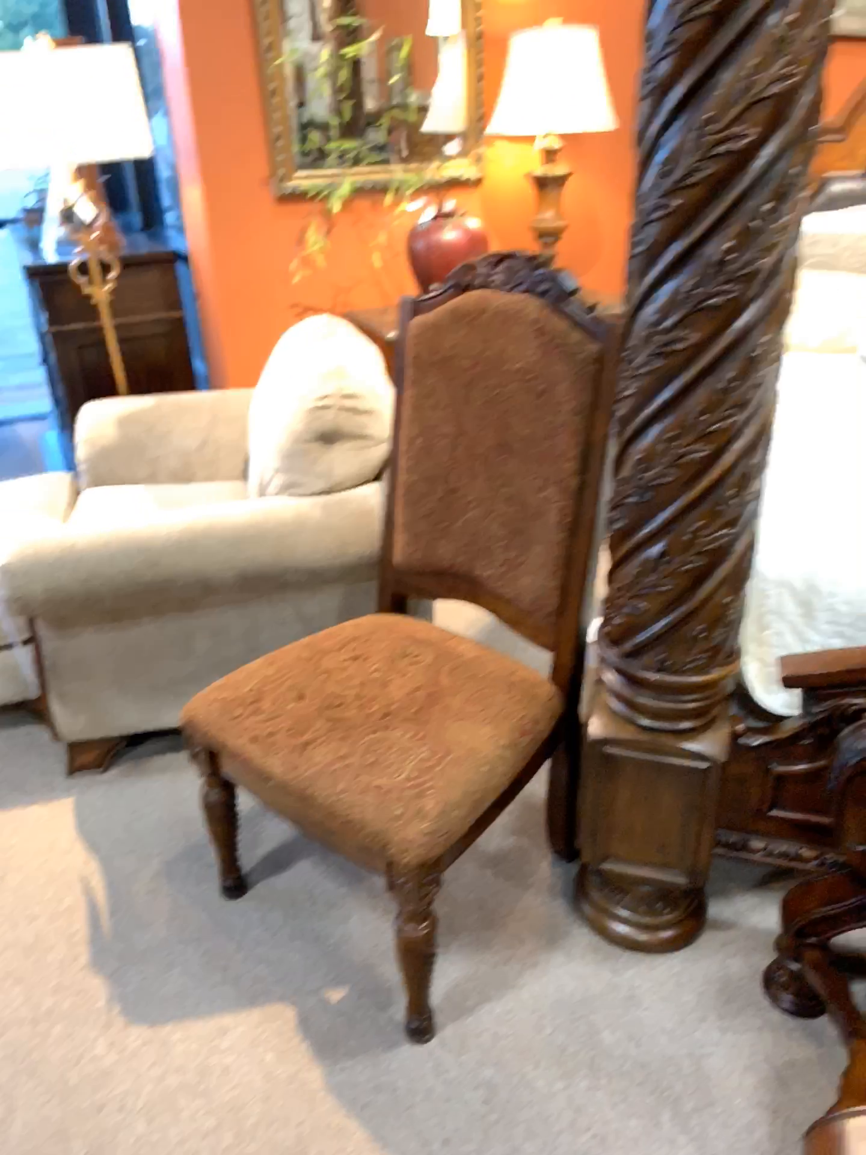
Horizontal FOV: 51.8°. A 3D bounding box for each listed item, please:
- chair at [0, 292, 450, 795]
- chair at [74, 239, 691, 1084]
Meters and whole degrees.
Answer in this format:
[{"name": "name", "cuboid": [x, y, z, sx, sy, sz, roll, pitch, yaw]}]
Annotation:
[{"name": "chair", "cuboid": [-0.493, -0.157, 2.205, 0.897, 0.865, 0.884, -6, 27, -8]}, {"name": "chair", "cuboid": [-0.038, 0.076, 1.505, 0.591, 1.123, 0.639, 20, 34, 37]}]
